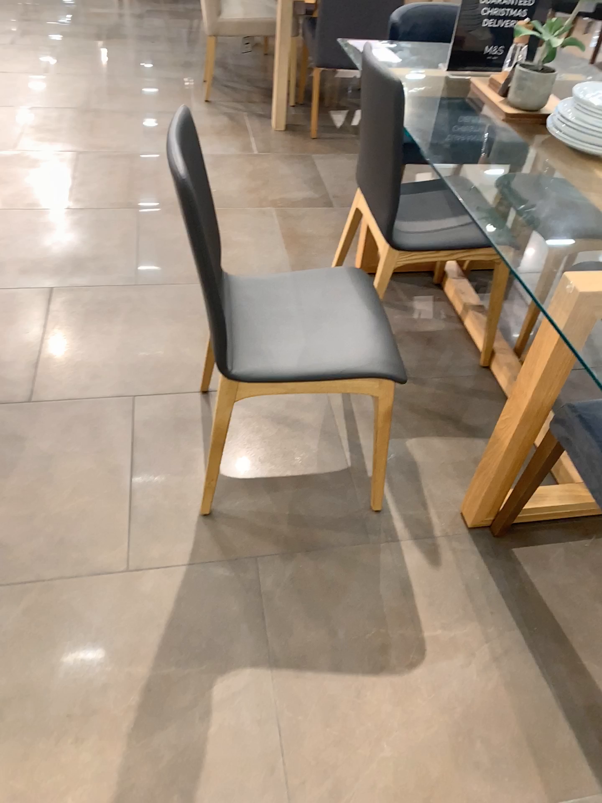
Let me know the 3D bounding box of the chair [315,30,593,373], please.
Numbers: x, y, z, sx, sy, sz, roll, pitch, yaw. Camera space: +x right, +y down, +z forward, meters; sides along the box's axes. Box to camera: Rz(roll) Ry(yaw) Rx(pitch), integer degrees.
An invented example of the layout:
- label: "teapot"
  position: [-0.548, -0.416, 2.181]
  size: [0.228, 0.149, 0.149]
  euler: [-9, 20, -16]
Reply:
- label: "chair"
  position: [0.373, -0.588, 1.883]
  size: [0.496, 0.833, 0.527]
  euler: [-3, 44, -10]

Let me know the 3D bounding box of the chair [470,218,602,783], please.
- label: "chair"
  position: [0.795, 0.188, 1.139]
  size: [0.543, 0.813, 0.591]
  euler: [-7, 45, -13]

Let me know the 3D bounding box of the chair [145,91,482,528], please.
- label: "chair"
  position: [-0.036, -0.192, 1.444]
  size: [0.536, 0.813, 0.568]
  euler: [-1, 44, -8]
